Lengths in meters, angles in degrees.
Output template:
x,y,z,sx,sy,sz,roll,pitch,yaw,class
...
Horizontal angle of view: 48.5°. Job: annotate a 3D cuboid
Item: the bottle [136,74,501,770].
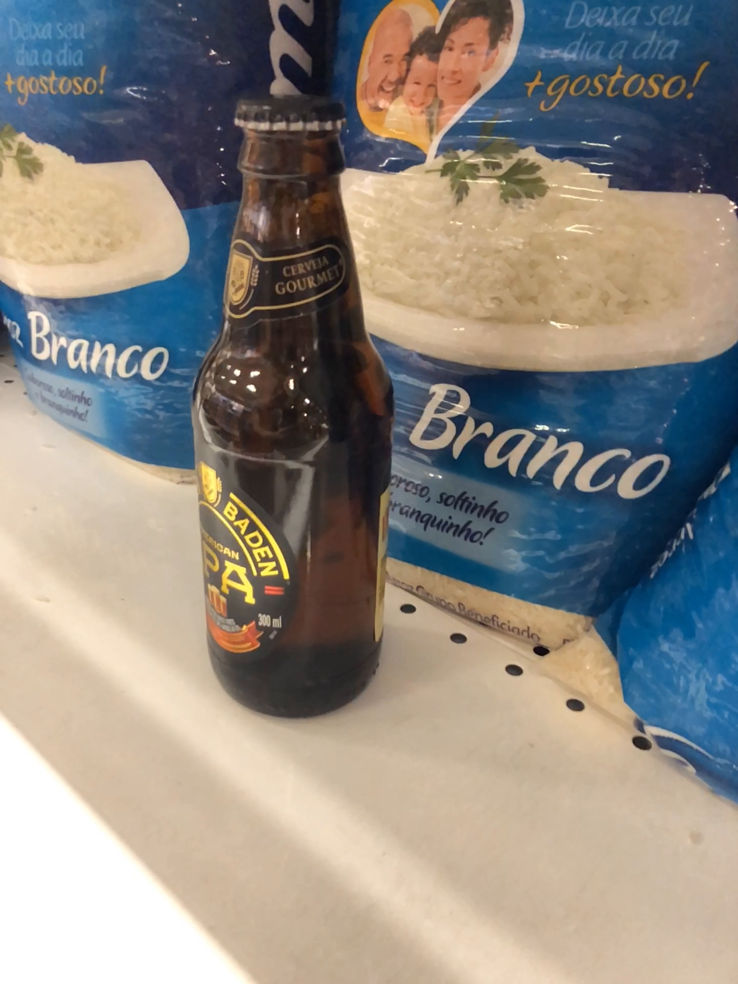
x,y,z,sx,sy,sz,roll,pitch,yaw,class
-0.017,-0.018,0.249,0.060,0.188,0.070,-21,37,-34,bottle
